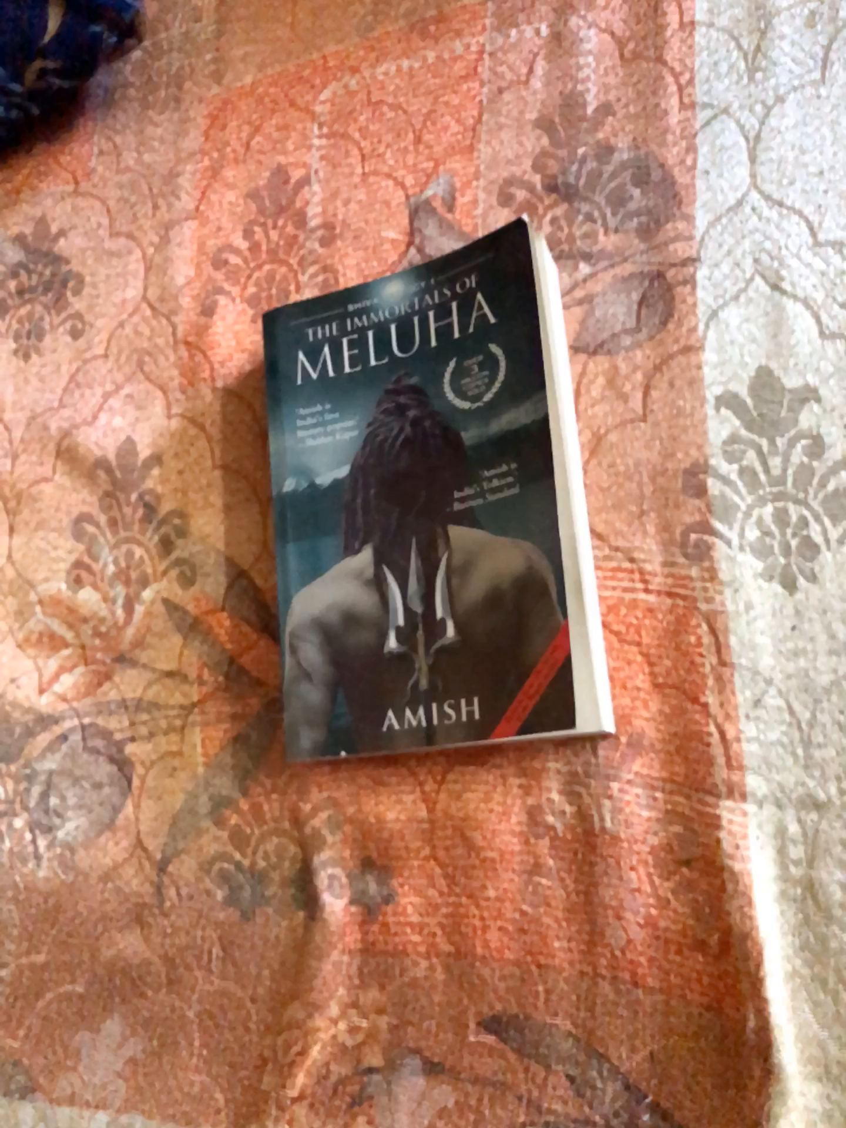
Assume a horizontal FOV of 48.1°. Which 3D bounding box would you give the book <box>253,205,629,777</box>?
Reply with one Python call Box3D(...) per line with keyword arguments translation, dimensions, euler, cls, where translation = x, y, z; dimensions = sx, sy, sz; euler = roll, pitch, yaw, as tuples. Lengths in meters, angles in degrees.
Box3D(translation=(0.001, -0.023, 0.368), dimensions=(0.131, 0.040, 0.200), euler=(-8, 76, 22), cls="book")
